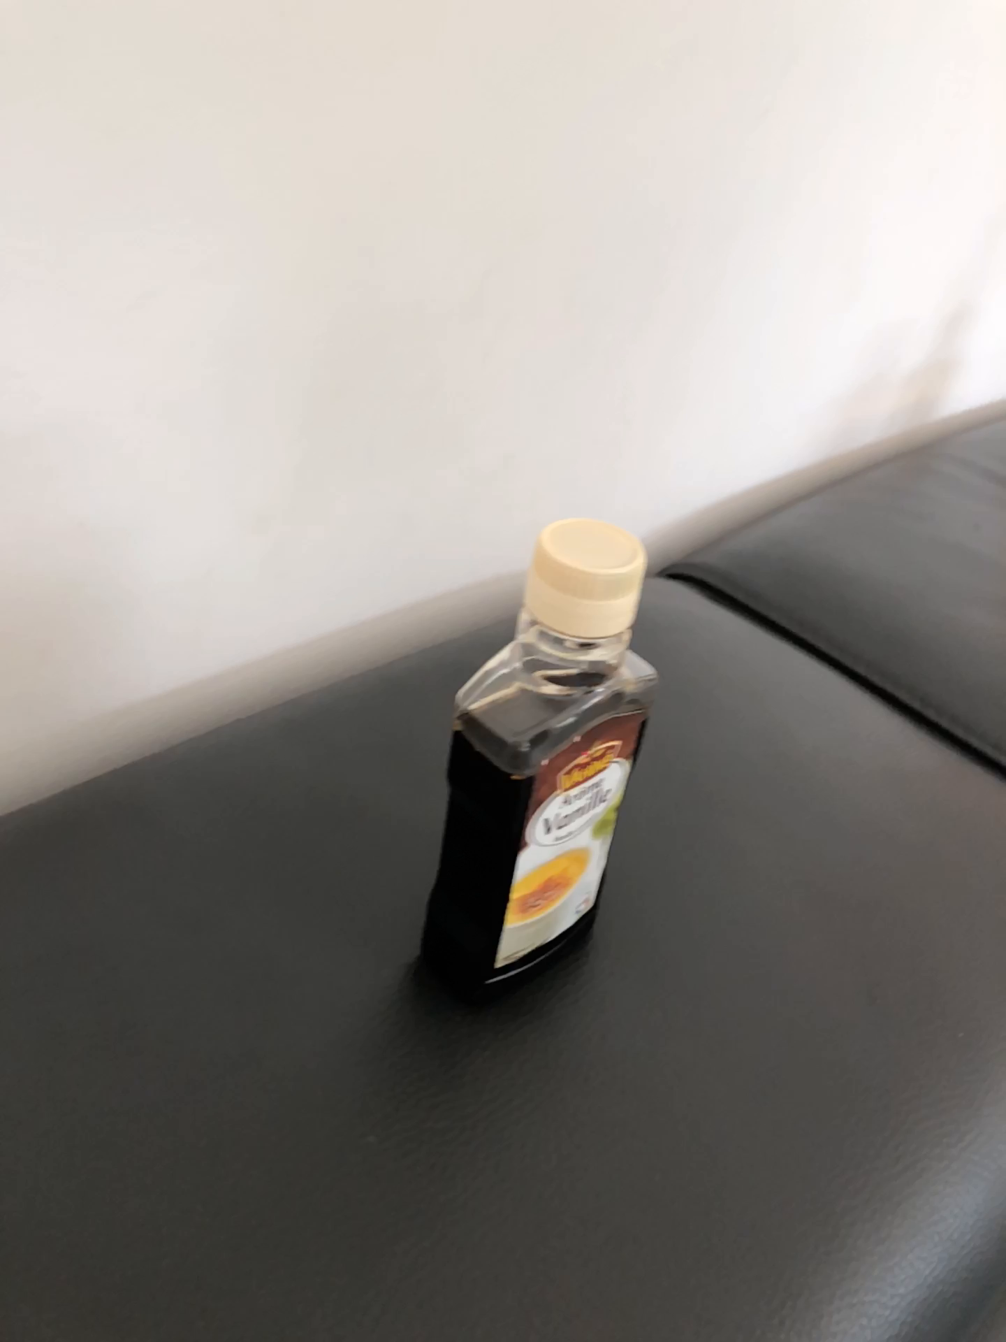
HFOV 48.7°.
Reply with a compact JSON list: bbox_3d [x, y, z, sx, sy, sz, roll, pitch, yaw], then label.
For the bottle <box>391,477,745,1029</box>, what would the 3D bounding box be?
[{"bbox_3d":[0.015,0.028,0.339,0.070,0.159,0.040,-23,47,-40],"label":"bottle"}]
